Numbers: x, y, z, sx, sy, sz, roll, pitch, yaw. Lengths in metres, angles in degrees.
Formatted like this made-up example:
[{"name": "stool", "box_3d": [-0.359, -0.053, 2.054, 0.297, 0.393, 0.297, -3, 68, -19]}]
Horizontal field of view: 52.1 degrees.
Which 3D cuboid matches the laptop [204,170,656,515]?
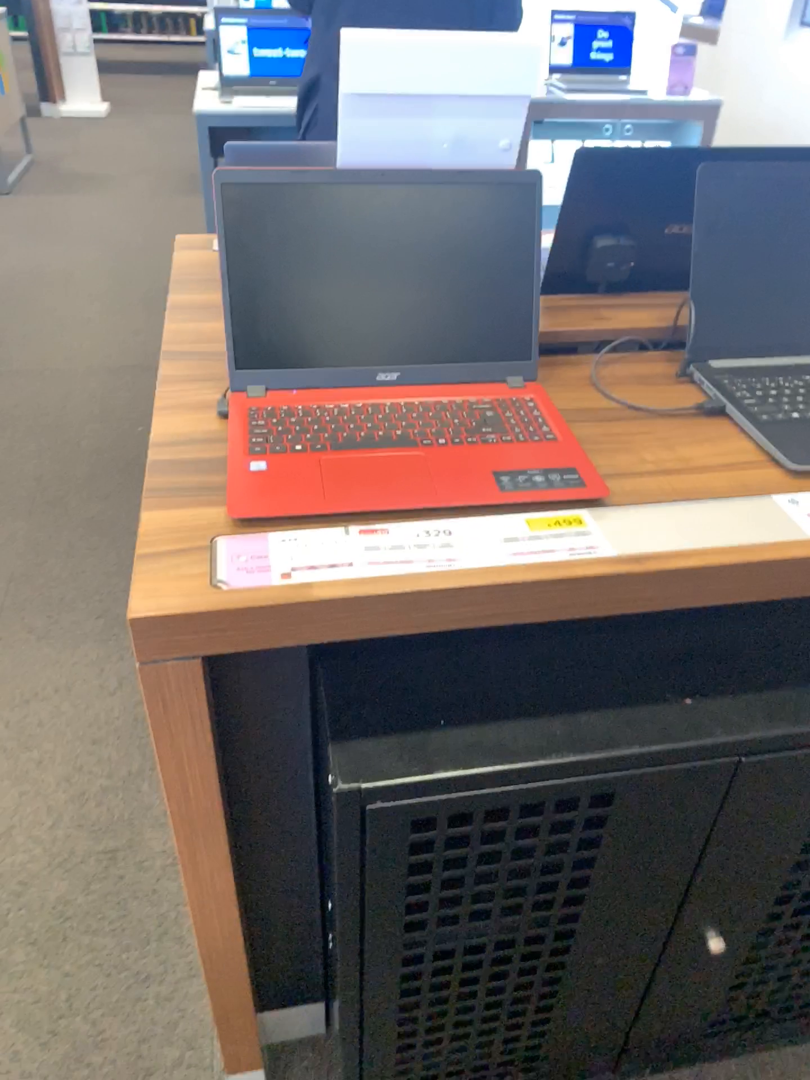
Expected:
[{"name": "laptop", "box_3d": [-0.003, -0.217, 0.829, 0.356, 0.213, 0.323, -4, 37, -9]}]
